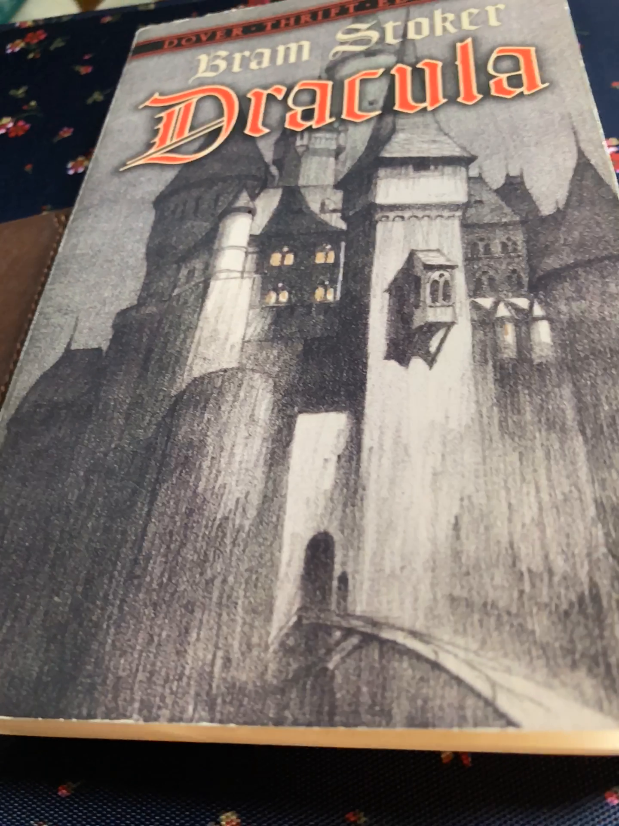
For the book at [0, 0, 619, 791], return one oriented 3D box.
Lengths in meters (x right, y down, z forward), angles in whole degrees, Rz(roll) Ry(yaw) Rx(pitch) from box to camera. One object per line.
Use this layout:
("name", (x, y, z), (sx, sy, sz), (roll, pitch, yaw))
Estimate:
("book", (0.001, -0.031, 0.165), (0.130, 0.033, 0.203), (-4, 56, 12))
